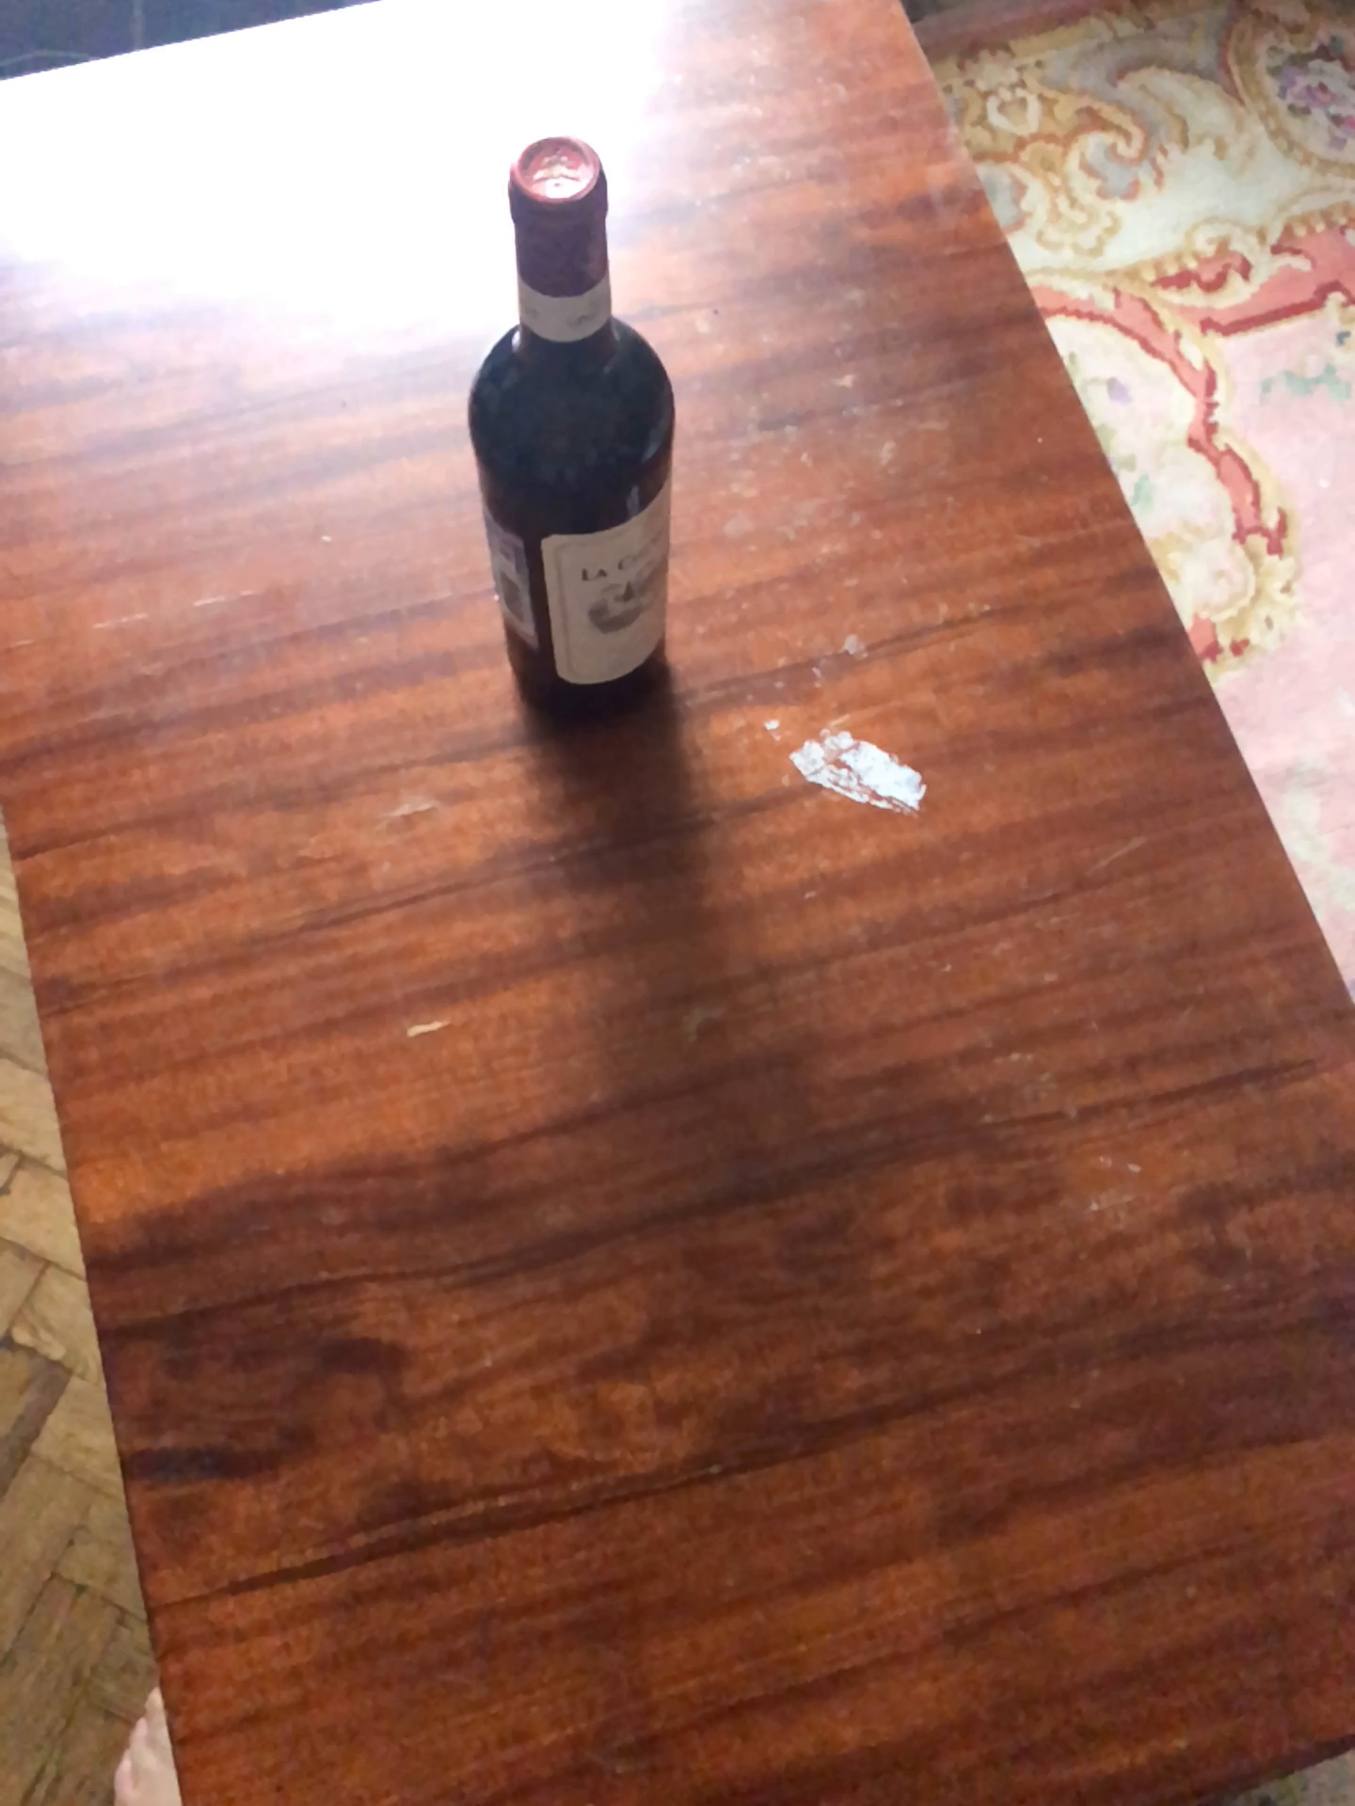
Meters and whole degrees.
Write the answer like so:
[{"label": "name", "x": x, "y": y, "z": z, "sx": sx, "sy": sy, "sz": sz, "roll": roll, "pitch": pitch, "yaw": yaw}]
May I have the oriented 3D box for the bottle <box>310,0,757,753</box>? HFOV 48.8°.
[{"label": "bottle", "x": -0.040, "y": -0.167, "z": 0.551, "sx": 0.090, "sy": 0.269, "sz": 0.090, "roll": 0, "pitch": 72, "yaw": 0}]
